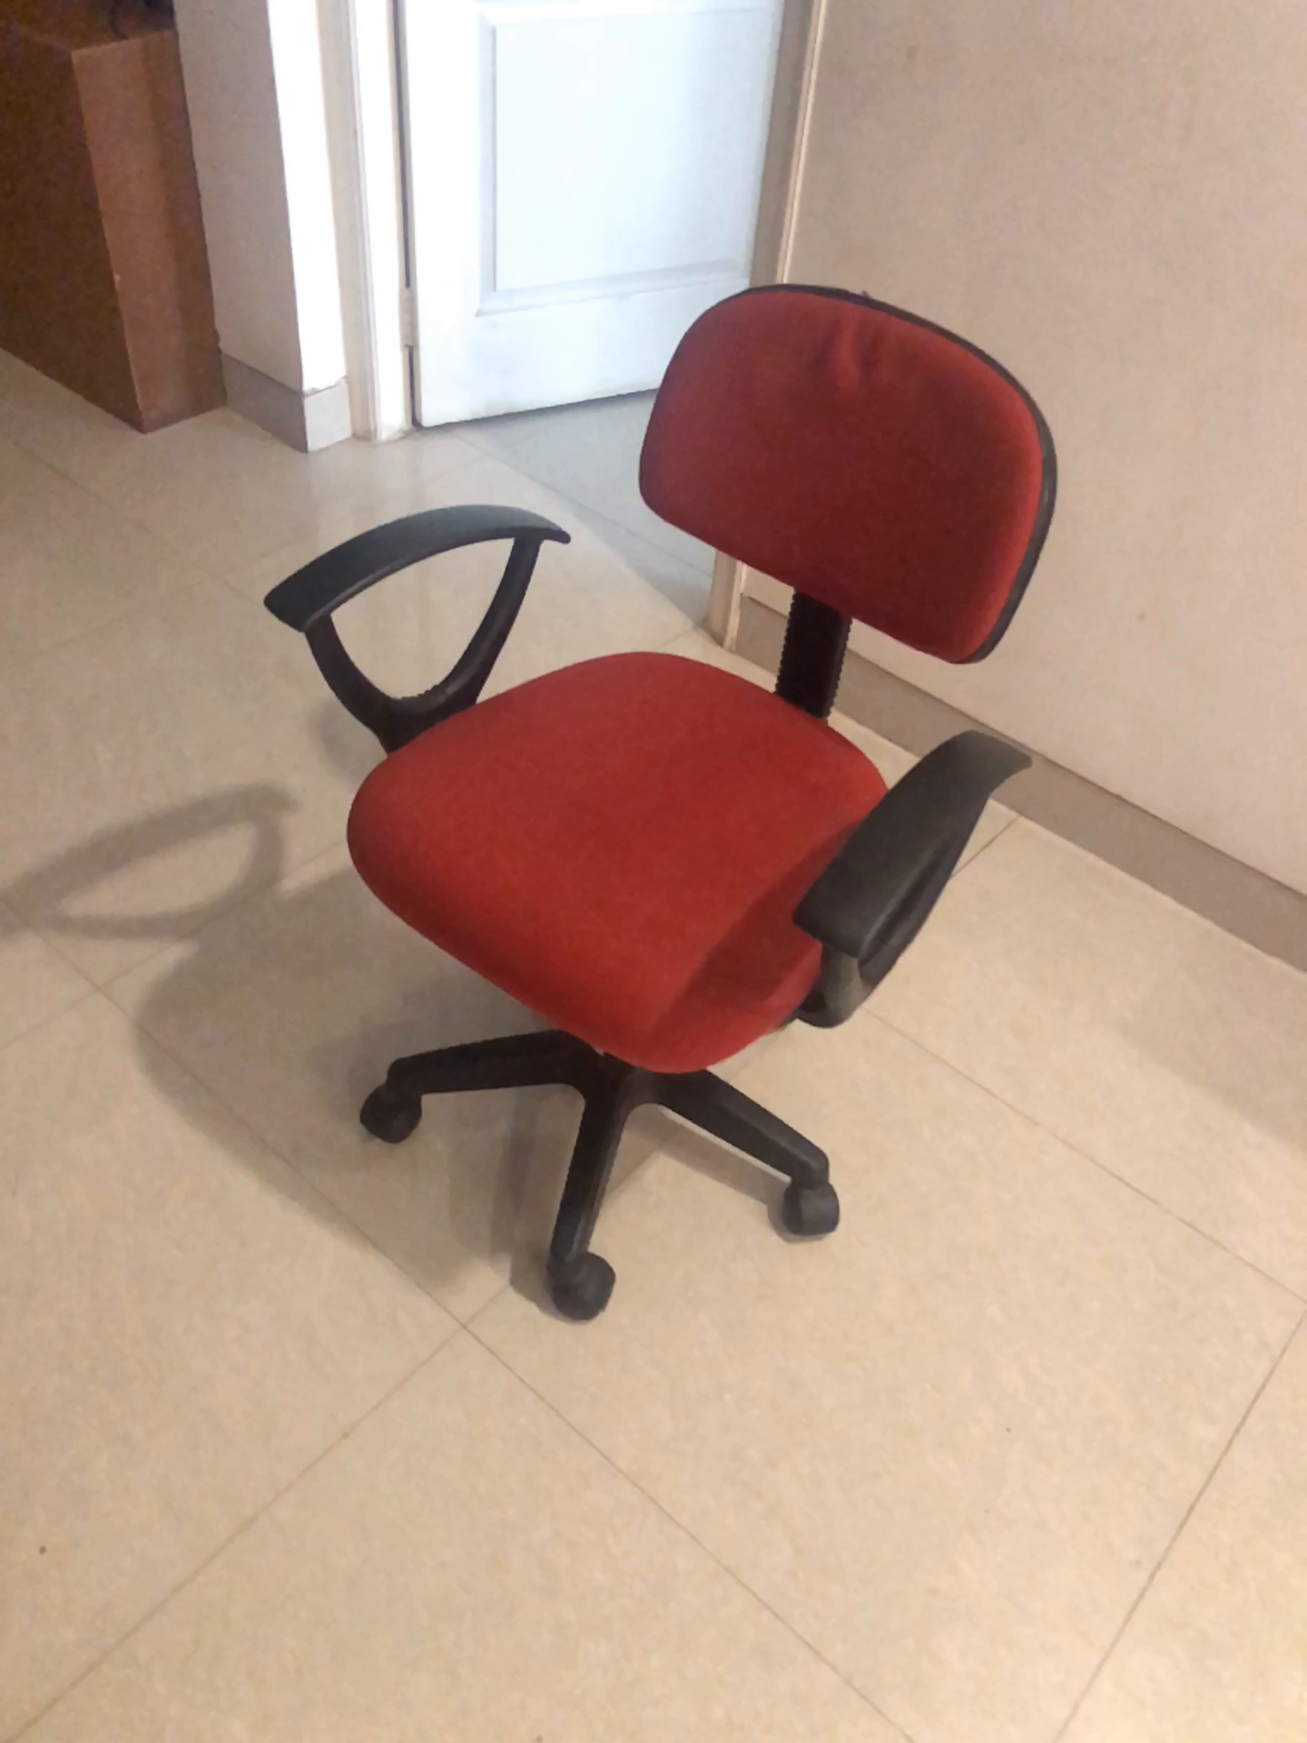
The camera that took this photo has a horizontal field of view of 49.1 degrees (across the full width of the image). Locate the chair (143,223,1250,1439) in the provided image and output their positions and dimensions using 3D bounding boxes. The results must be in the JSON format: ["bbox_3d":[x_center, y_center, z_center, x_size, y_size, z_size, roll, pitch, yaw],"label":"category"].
[{"bbox_3d":[0.029,-0.054,1.274,0.541,0.725,0.603,32,50,25],"label":"chair"}]
